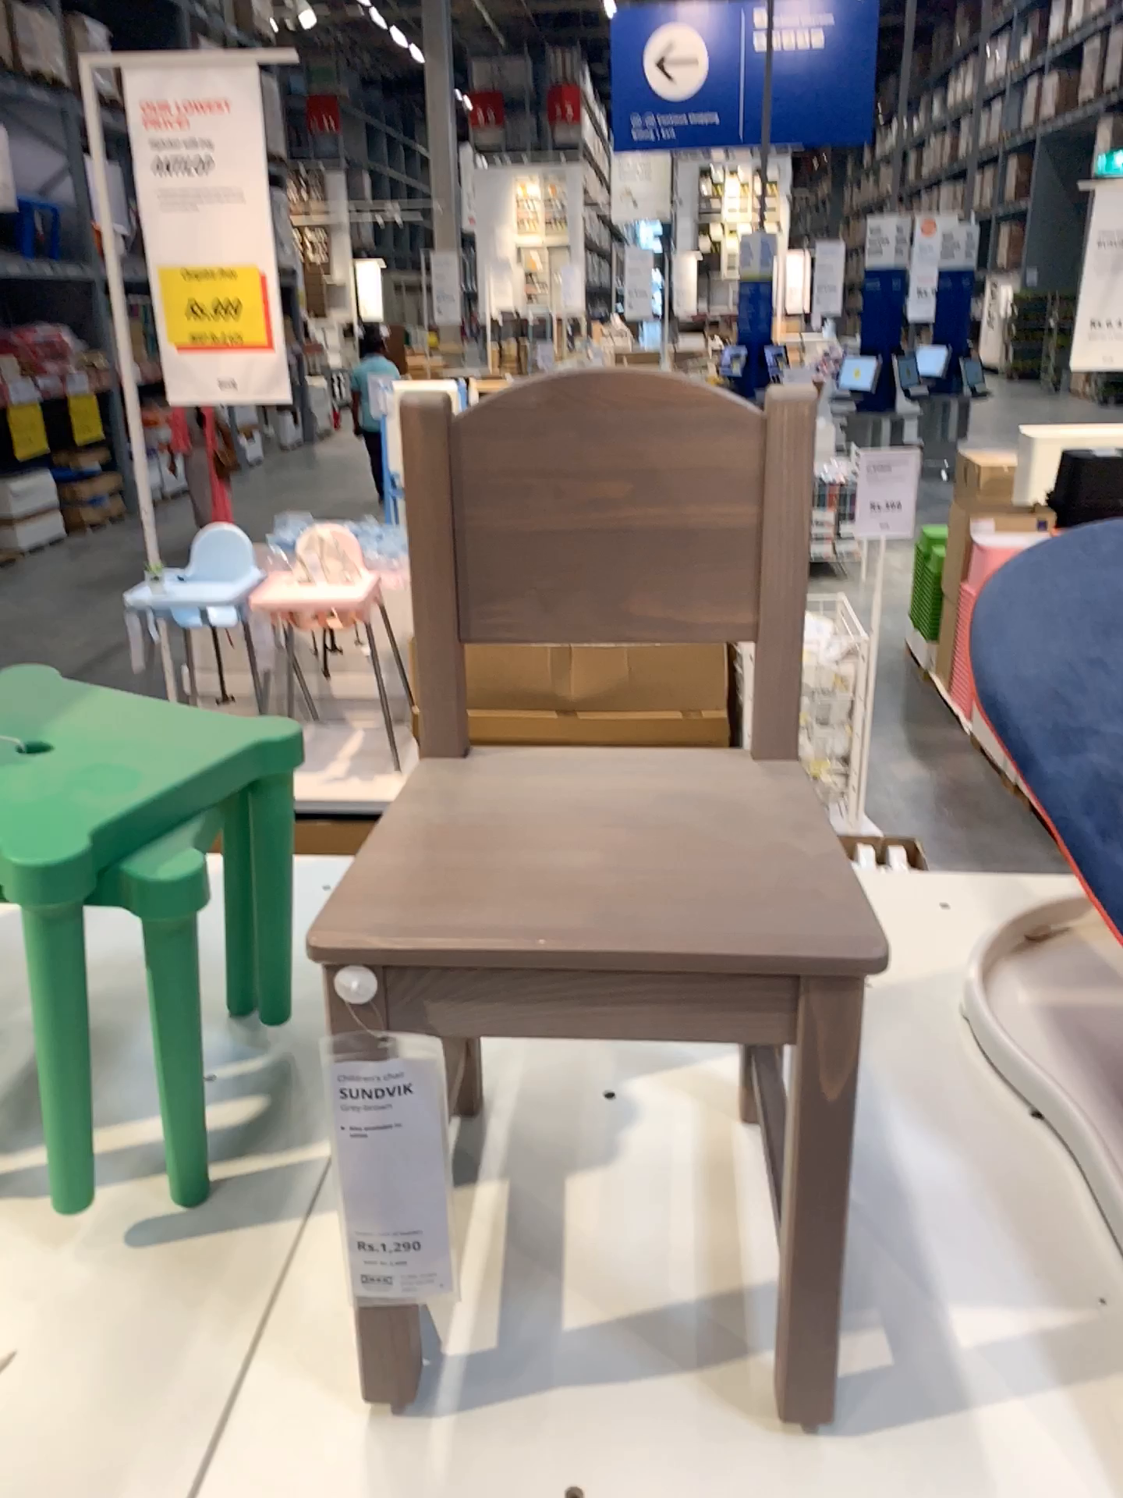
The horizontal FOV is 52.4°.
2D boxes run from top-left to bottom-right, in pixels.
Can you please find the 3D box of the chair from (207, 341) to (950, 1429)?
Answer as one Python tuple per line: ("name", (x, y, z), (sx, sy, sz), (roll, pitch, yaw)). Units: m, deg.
("chair", (0.020, 0.049, 0.655), (0.270, 0.518, 0.321), (0, 21, 4))
